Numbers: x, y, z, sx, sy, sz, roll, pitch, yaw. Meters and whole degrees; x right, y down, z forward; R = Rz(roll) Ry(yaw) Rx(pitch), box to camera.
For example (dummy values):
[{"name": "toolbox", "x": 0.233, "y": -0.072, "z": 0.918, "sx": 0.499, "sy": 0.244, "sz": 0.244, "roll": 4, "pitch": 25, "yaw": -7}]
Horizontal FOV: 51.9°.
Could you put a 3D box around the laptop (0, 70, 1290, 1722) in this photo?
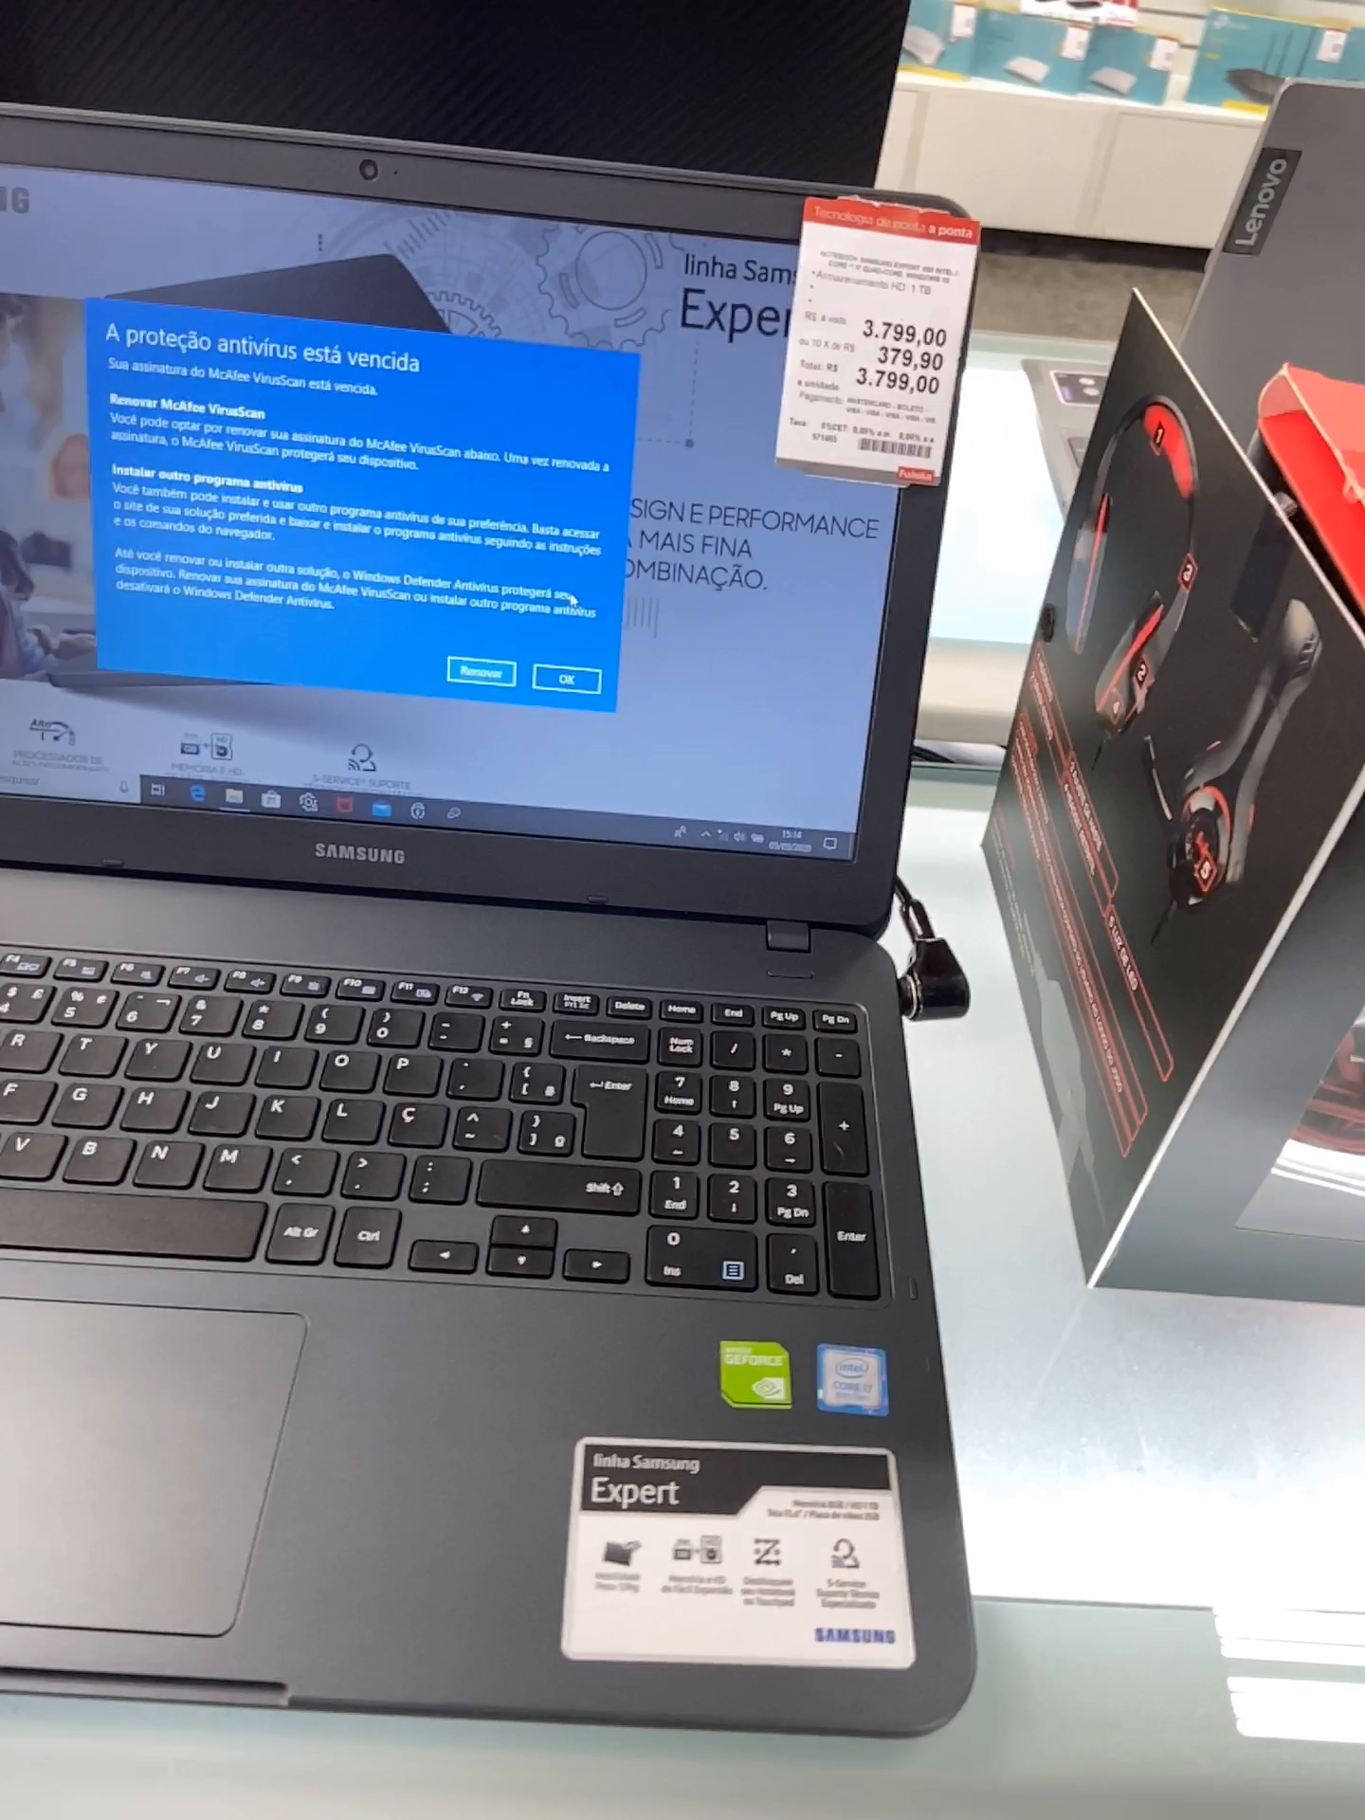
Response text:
[{"name": "laptop", "x": -0.112, "y": -0.035, "z": 0.371, "sx": 0.370, "sy": 0.207, "sz": 0.373, "roll": 4, "pitch": 44, "yaw": -3}]
